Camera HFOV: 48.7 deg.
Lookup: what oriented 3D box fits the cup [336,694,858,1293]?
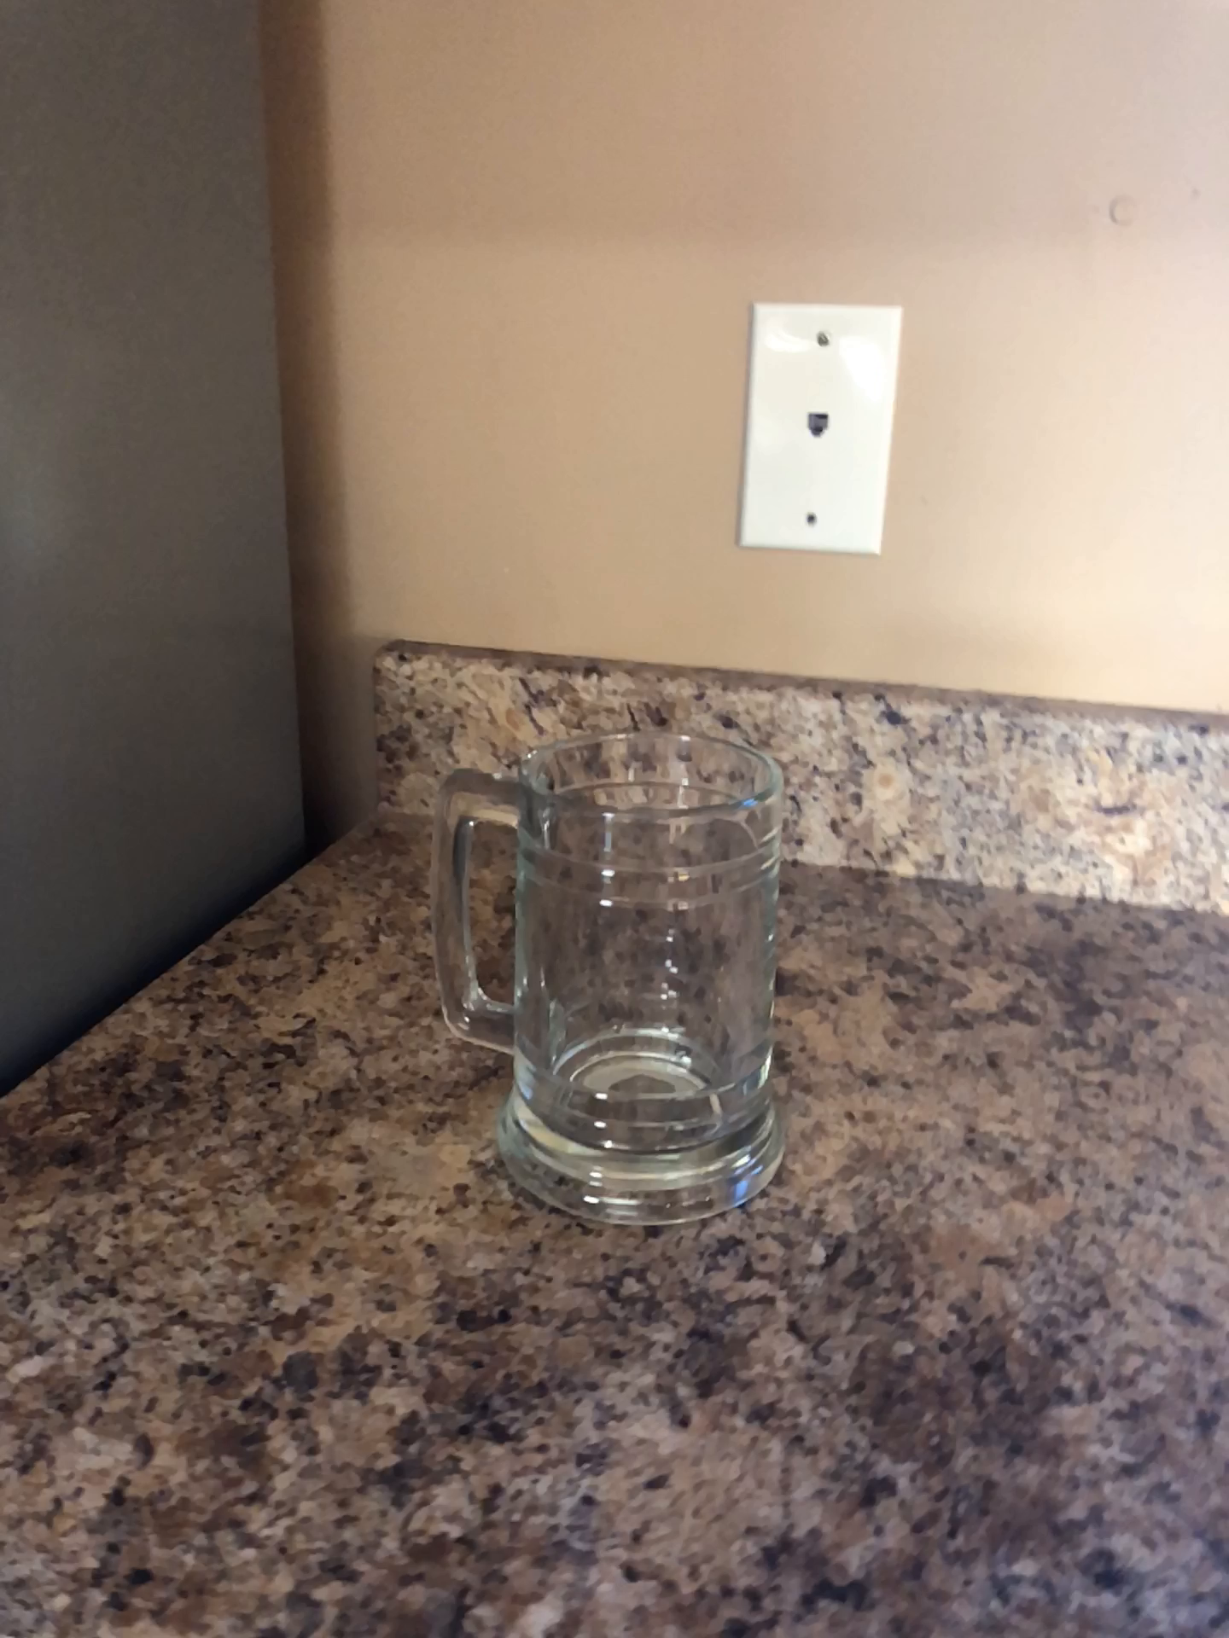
[{"bbox_3d":[-0.005,0.047,0.447,0.130,0.139,0.100,13,23,28],"label":"cup"}]
